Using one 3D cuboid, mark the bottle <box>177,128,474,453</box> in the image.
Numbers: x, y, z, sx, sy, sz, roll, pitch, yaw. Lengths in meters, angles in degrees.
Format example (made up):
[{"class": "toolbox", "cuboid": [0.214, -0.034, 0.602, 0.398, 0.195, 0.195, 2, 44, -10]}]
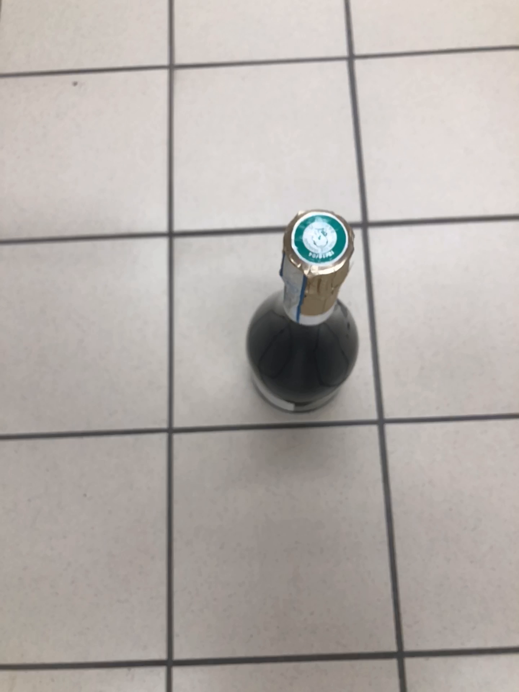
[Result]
[{"class": "bottle", "cuboid": [0.033, -0.002, 0.411, 0.090, 0.310, 0.100, -40, 78, -8]}]
